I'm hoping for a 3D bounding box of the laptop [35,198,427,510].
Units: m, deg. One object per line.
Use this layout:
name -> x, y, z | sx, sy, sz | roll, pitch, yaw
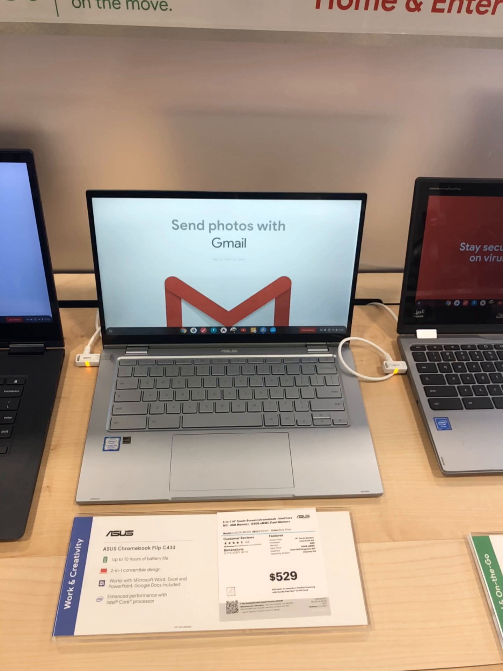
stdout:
laptop -> -0.019, 0.007, 0.598 | 0.309, 0.174, 0.283 | -1, 46, -4
